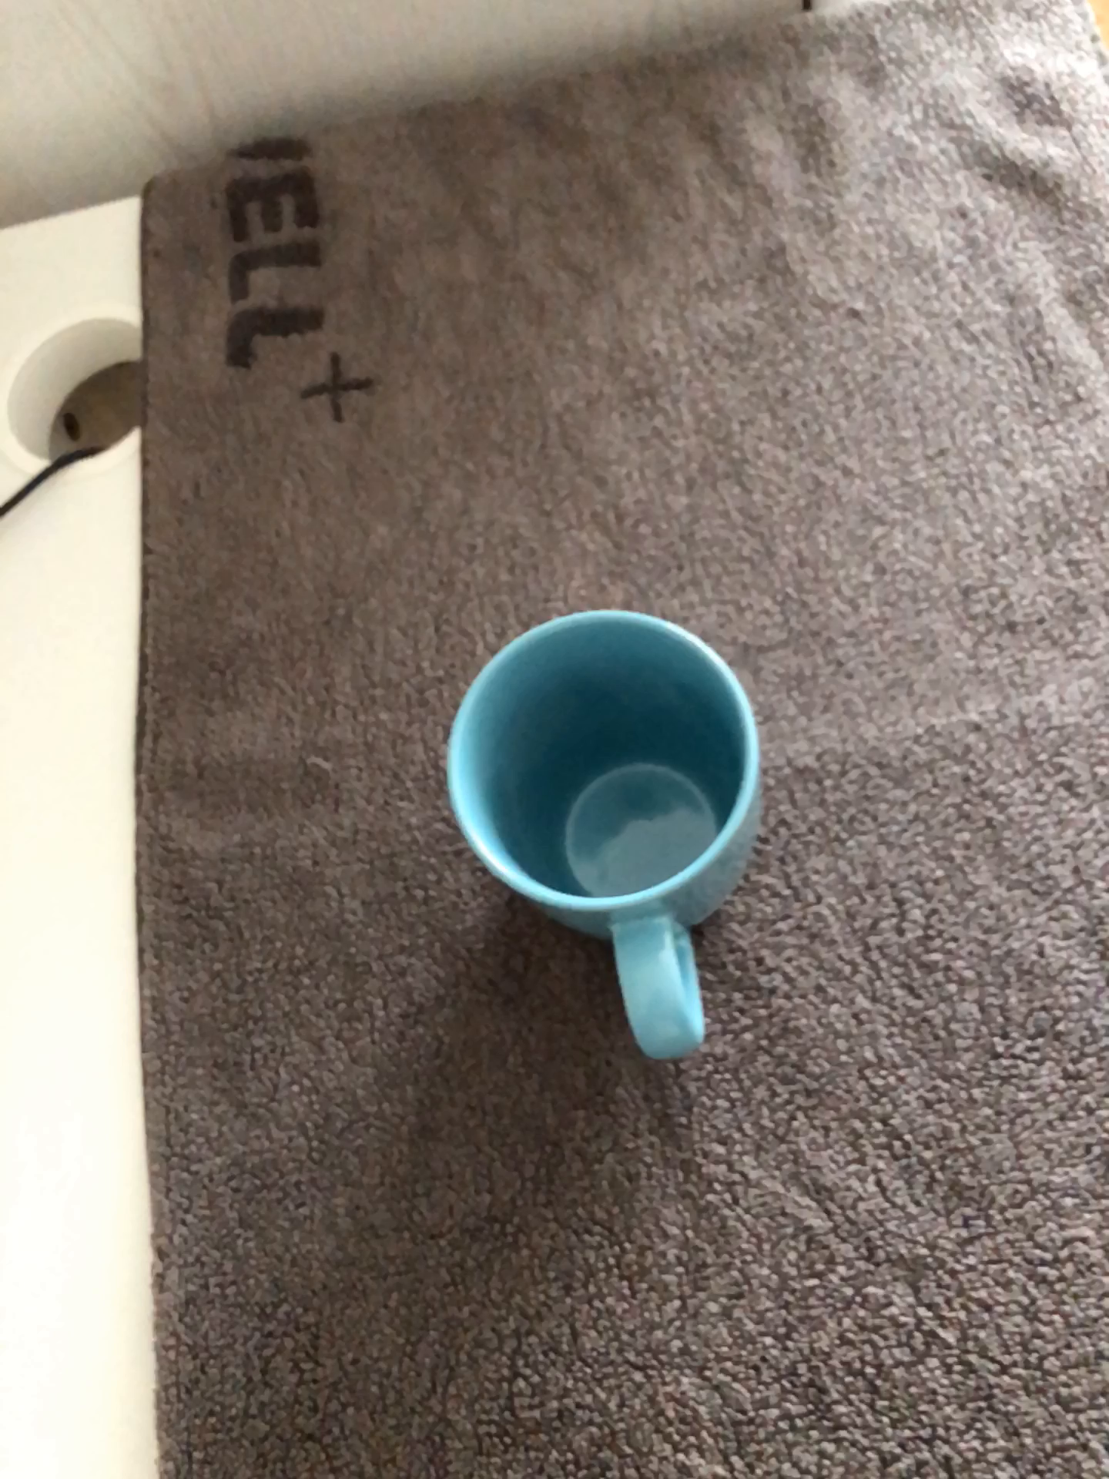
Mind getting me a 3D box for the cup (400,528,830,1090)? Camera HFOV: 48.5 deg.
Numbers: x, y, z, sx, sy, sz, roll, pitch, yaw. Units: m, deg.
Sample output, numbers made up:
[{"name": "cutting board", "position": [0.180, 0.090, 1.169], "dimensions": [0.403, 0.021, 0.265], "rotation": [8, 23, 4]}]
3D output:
[{"name": "cup", "position": [0.019, 0.026, 0.355], "dimensions": [0.087, 0.090, 0.126], "rotation": [-14, 69, 7]}]
